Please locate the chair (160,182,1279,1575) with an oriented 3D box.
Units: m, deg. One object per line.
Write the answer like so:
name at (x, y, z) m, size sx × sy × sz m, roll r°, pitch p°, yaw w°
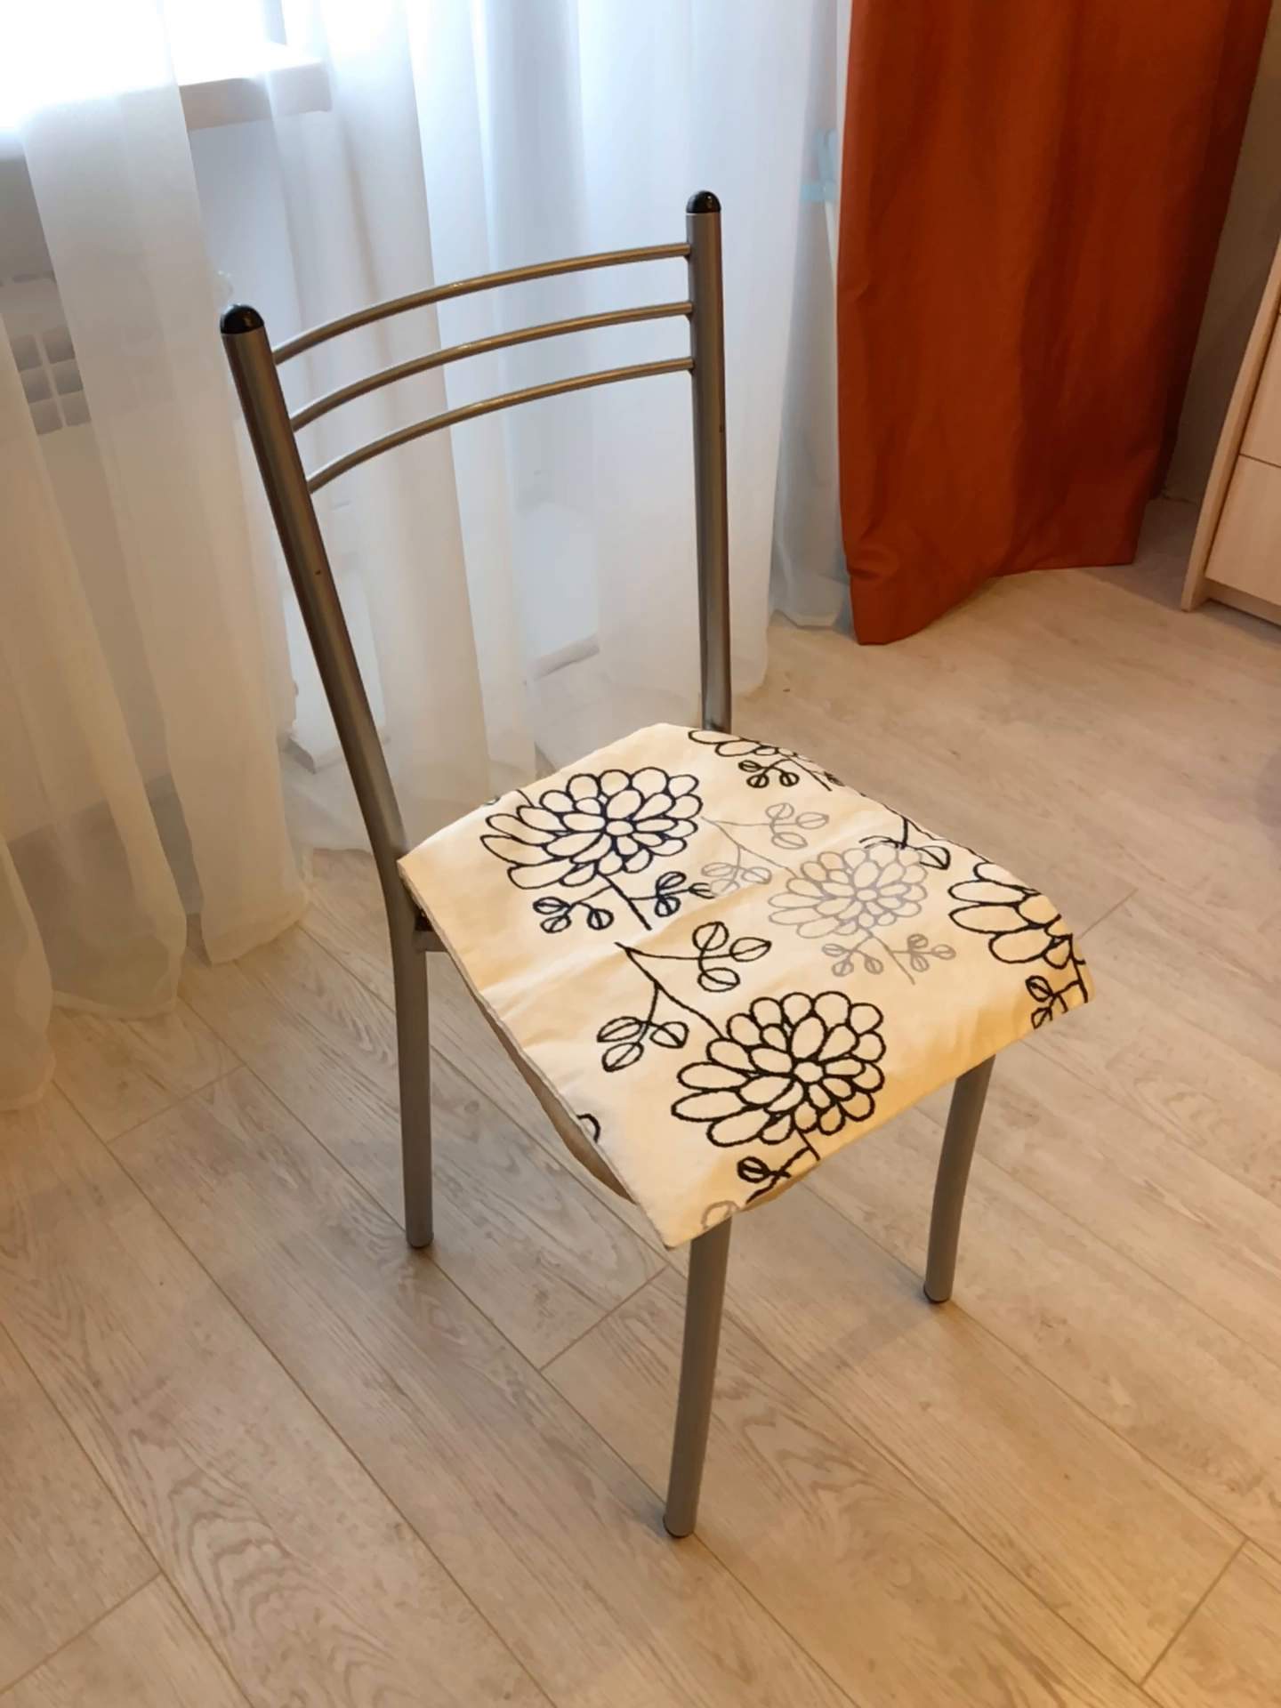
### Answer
chair at (0.039, 0.022, 1.010) m, size 0.422 × 0.794 × 0.441 m, roll -30°, pitch 48°, yaw -32°
